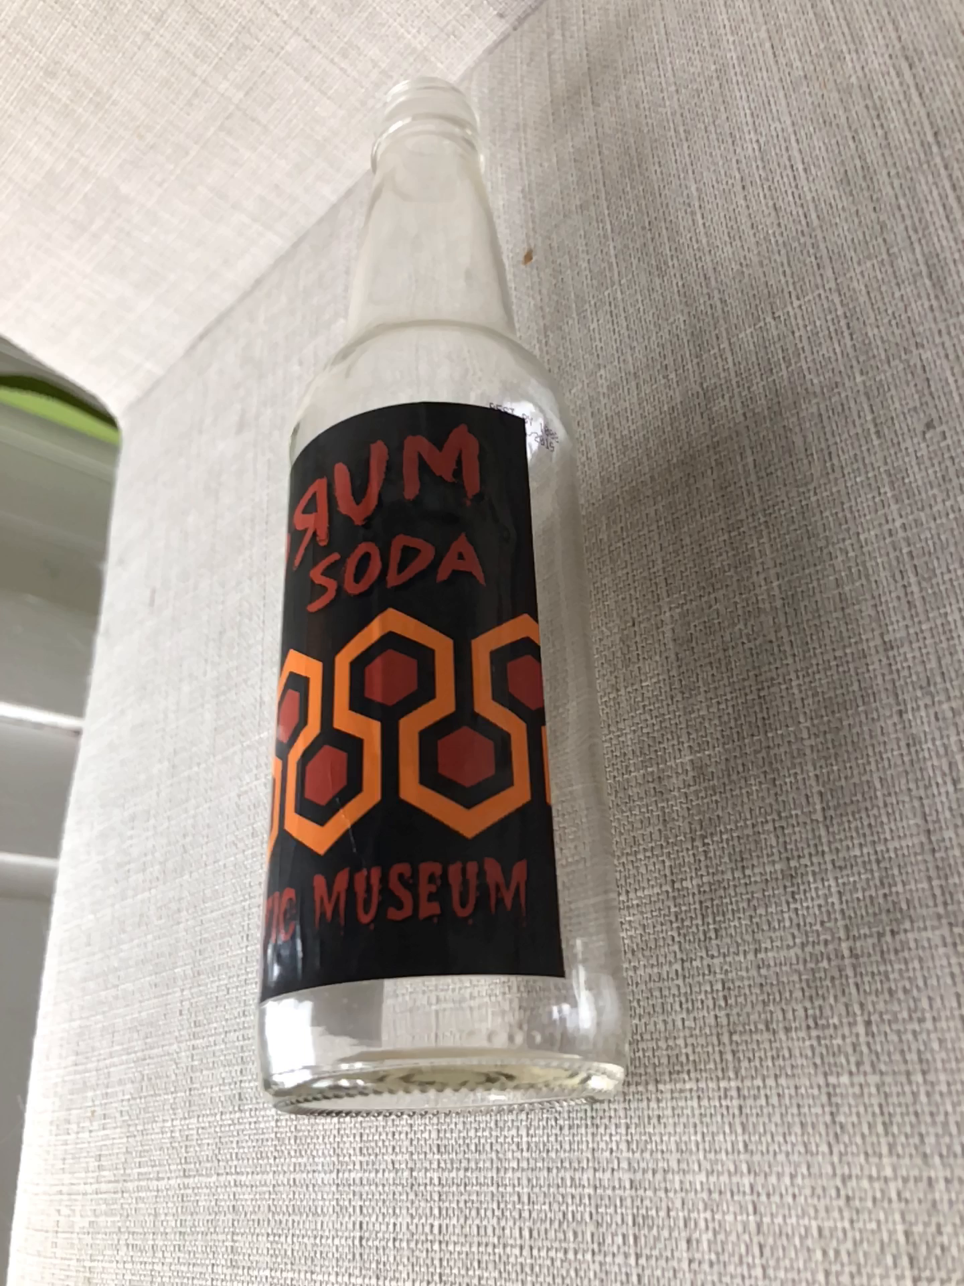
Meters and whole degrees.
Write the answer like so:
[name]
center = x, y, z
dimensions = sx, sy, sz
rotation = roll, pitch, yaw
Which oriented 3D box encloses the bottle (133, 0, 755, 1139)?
[bottle]
center = -0.013, -0.032, 0.214
dimensions = 0.063, 0.070, 0.231
rotation = -29, 54, 41
